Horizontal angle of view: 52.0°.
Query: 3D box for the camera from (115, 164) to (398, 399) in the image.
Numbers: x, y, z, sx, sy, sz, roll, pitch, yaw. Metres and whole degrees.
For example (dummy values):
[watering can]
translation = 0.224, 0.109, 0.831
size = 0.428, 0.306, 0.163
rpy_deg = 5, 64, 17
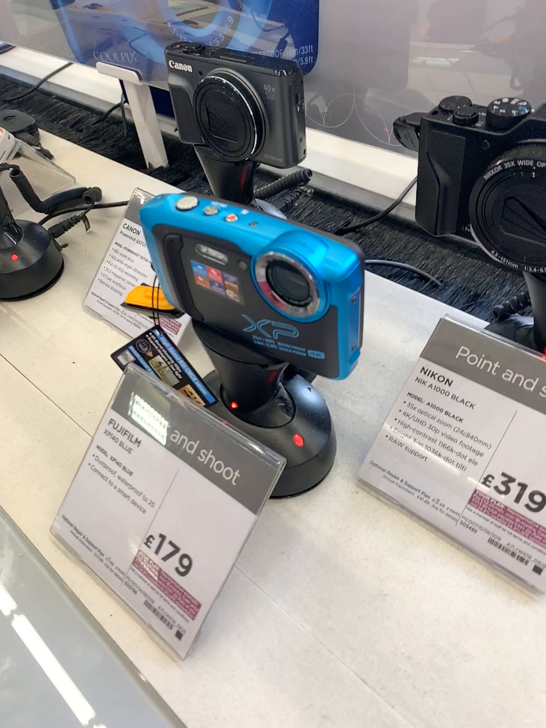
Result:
[camera]
translation = -0.007, -0.036, 0.230
size = 0.110, 0.059, 0.030
rpy_deg = 24, 54, 28
